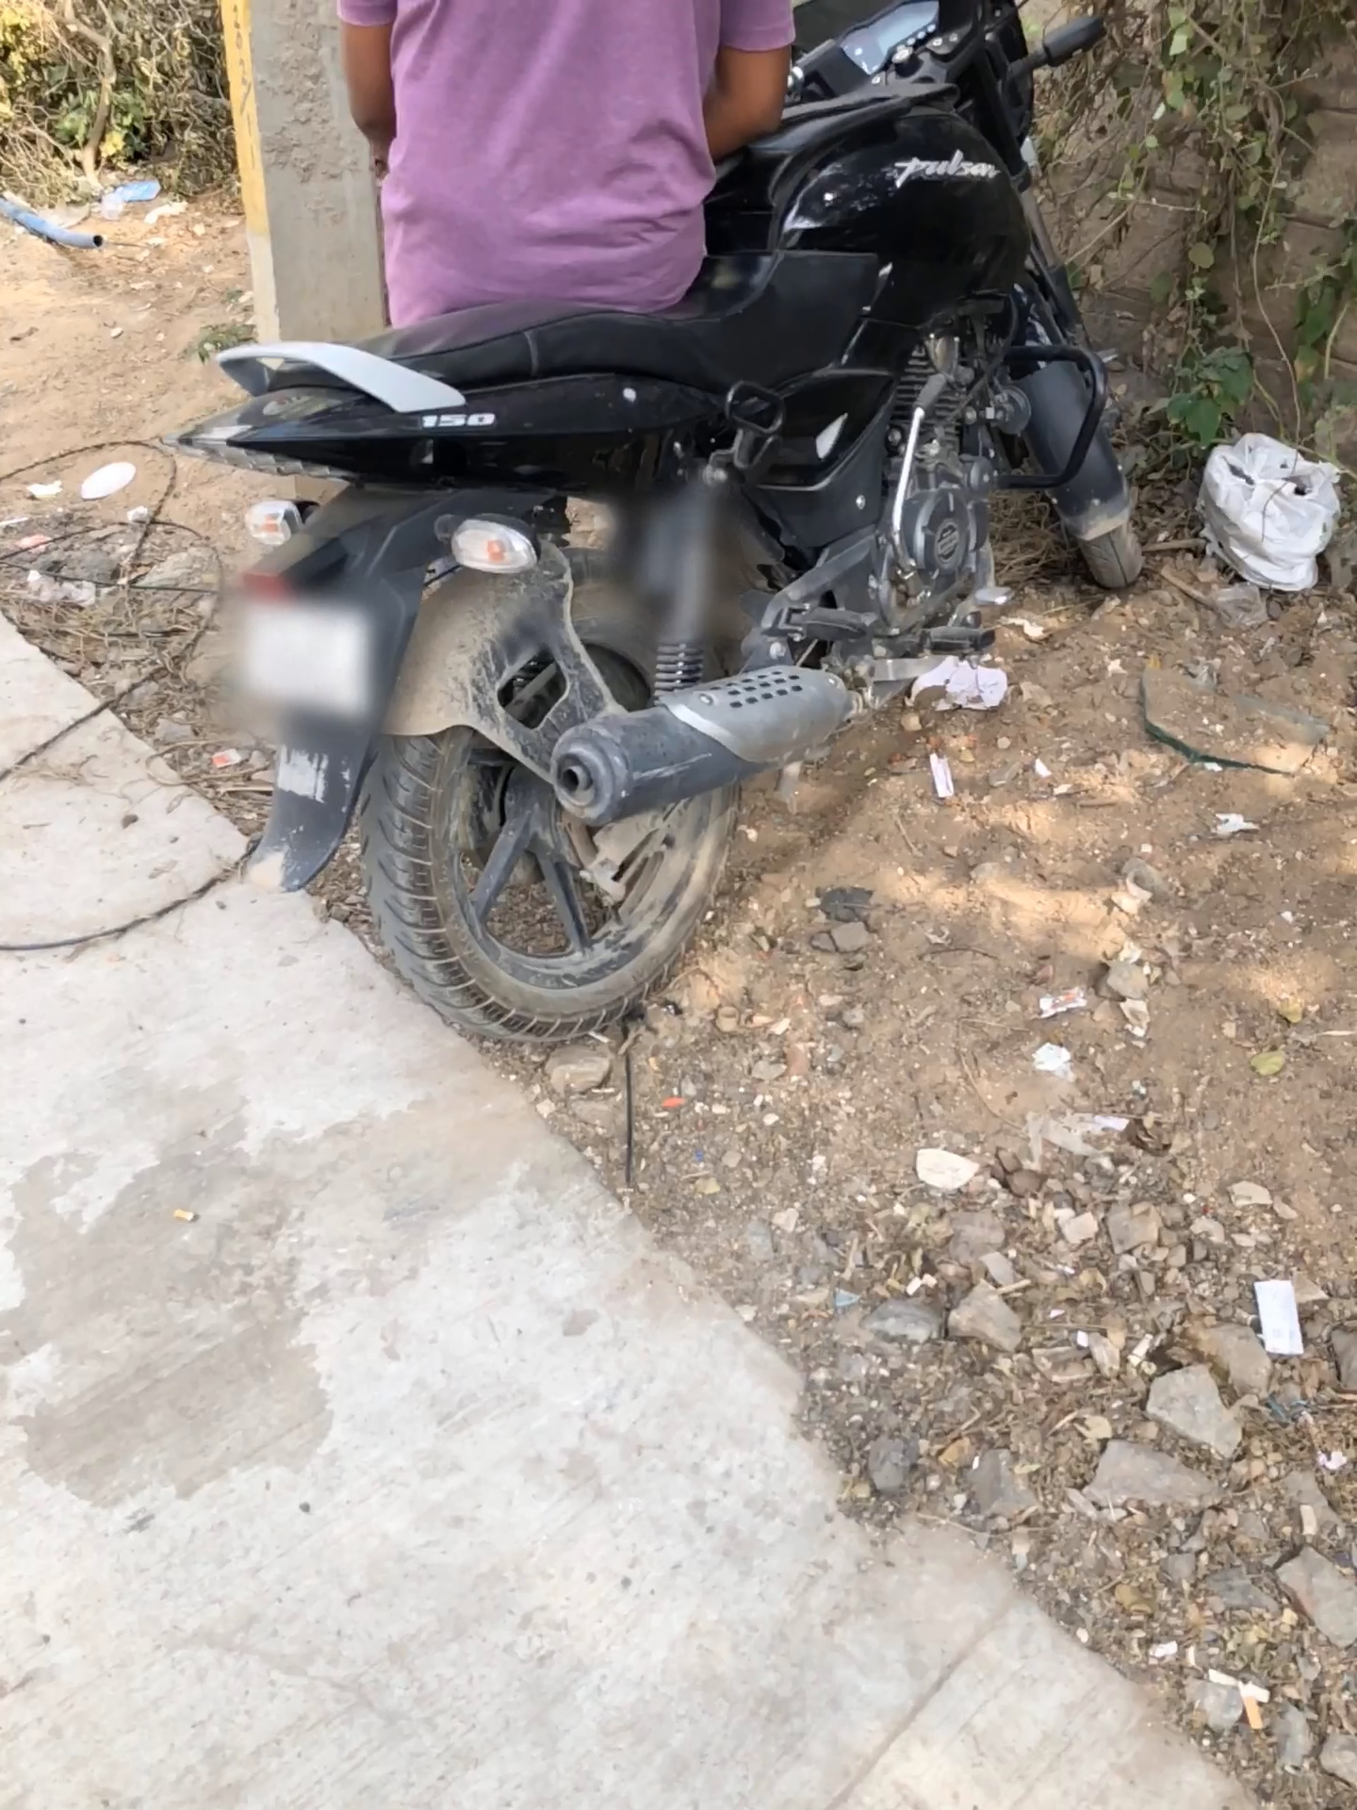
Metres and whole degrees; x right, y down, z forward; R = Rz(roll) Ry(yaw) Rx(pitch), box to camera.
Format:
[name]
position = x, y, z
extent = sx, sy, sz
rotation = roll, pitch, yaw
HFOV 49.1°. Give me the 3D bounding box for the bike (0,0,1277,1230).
[bike]
position = 0.061, -0.791, 2.068
extent = 0.813, 1.215, 1.823
rotation = 20, 45, 23
